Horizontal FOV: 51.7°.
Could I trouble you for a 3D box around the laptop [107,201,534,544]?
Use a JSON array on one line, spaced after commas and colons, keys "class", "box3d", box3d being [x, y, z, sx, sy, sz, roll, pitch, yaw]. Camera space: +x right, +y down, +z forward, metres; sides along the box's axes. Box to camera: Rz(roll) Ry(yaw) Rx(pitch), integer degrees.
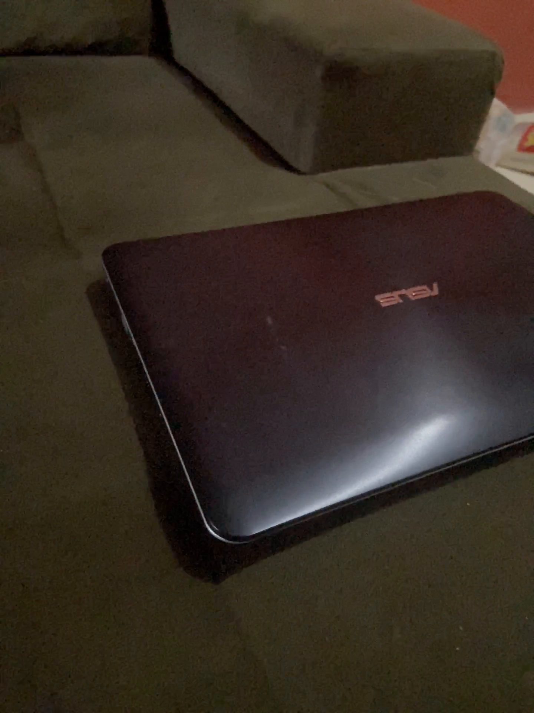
[{"class": "laptop", "box3d": [0.103, -0.033, 0.381, 0.370, 0.004, 0.235, -13, 45, -21]}]
